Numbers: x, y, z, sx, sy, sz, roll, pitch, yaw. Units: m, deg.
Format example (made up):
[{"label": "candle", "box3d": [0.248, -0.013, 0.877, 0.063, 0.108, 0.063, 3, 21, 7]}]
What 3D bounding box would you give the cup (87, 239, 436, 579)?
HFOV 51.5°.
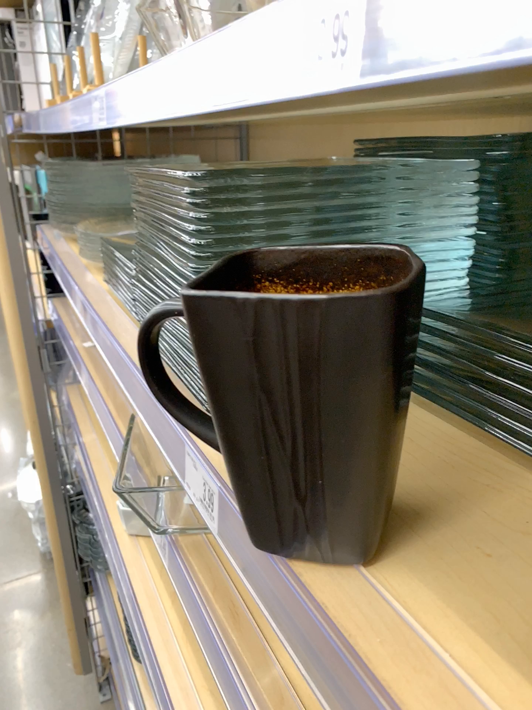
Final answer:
[{"label": "cup", "box3d": [0.005, 0.012, 0.224, 0.107, 0.099, 0.088, 4, 22, 11]}]
